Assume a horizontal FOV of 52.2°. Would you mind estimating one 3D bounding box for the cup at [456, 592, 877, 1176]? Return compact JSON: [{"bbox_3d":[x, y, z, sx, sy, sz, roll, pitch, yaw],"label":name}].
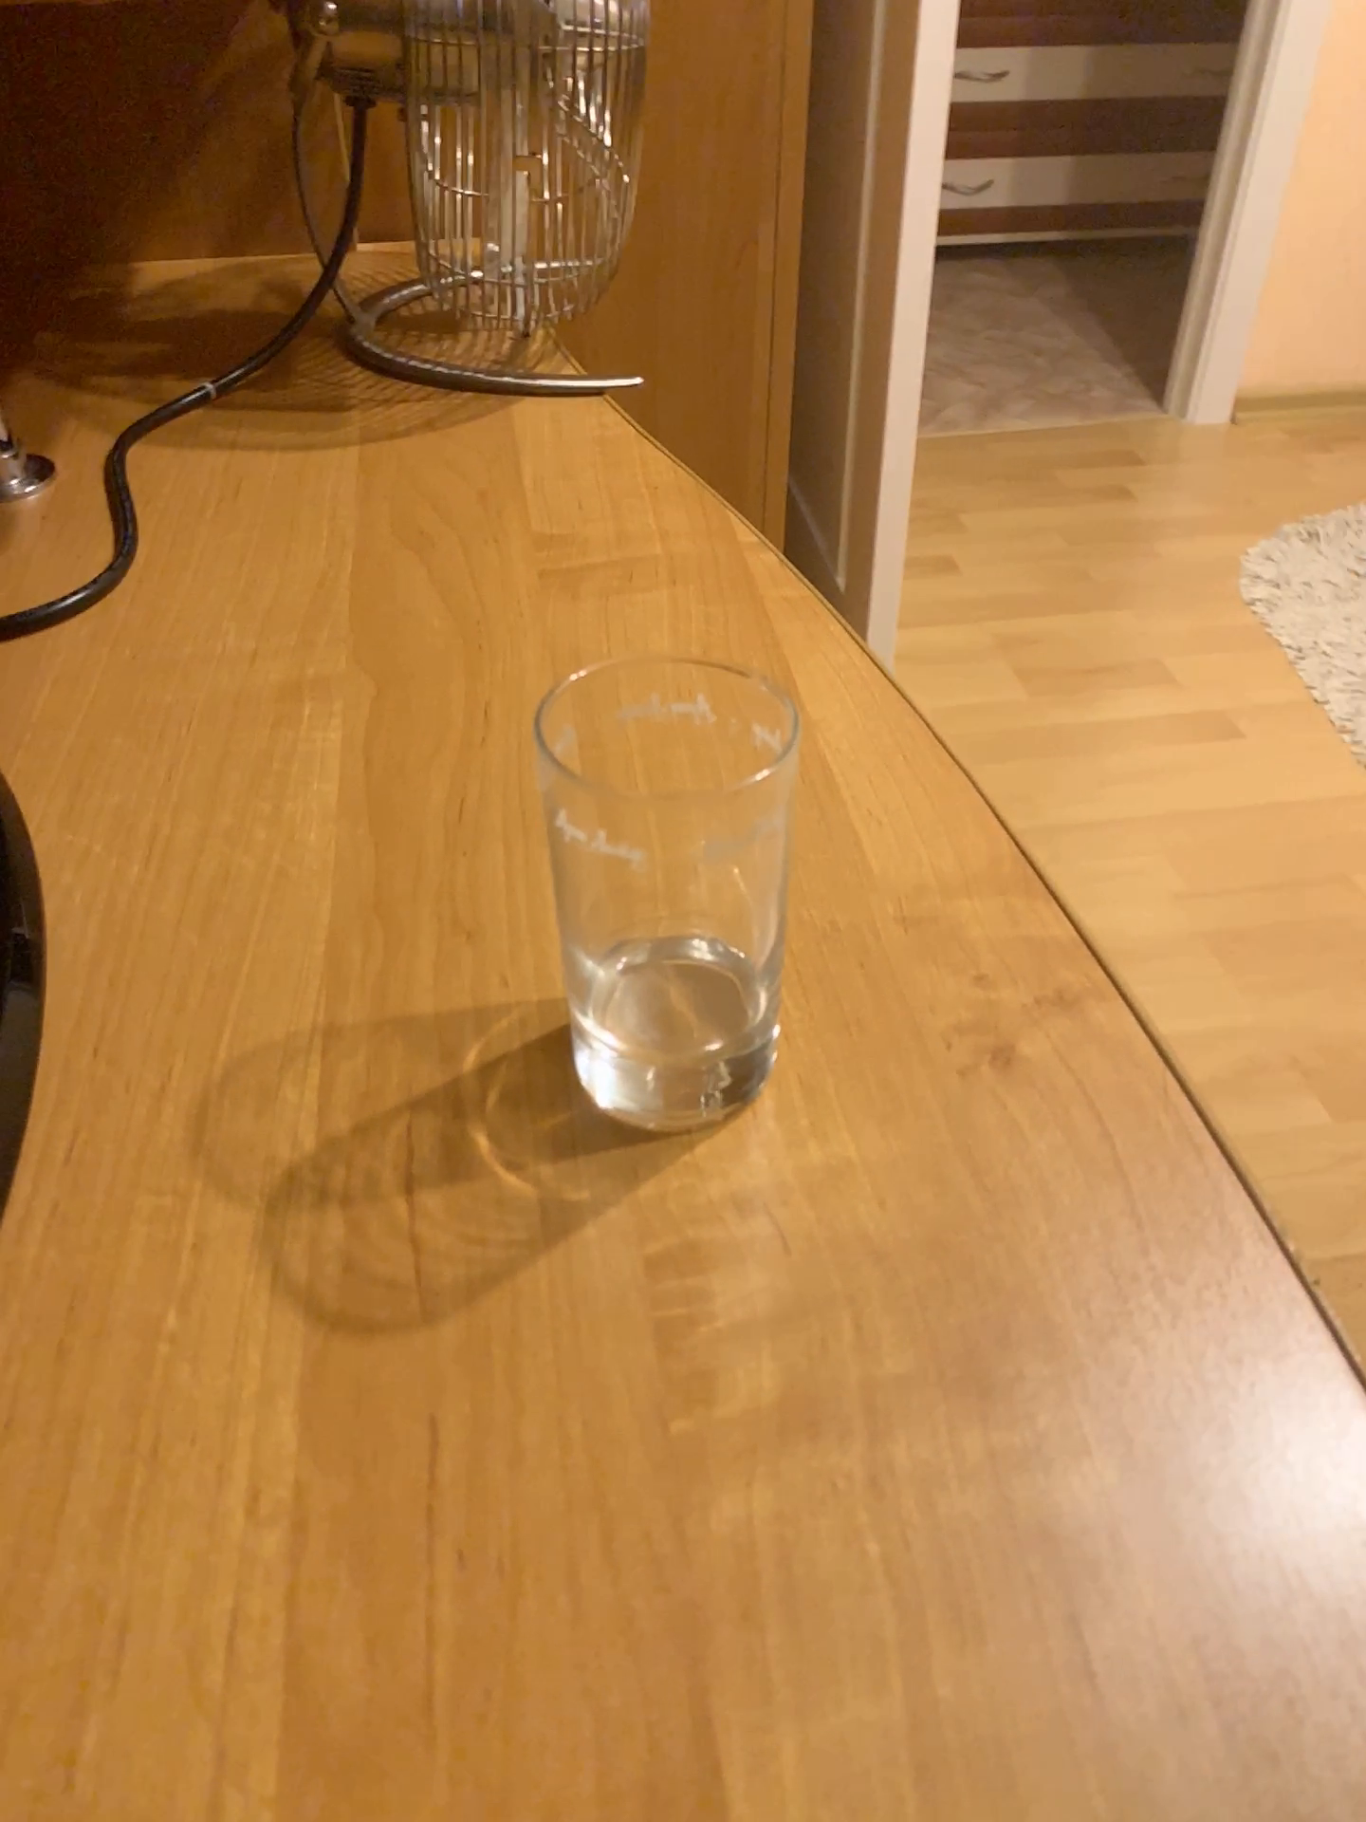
[{"bbox_3d":[-0.003,-0.006,0.313,0.060,0.099,0.060,0,40,0],"label":"cup"}]
